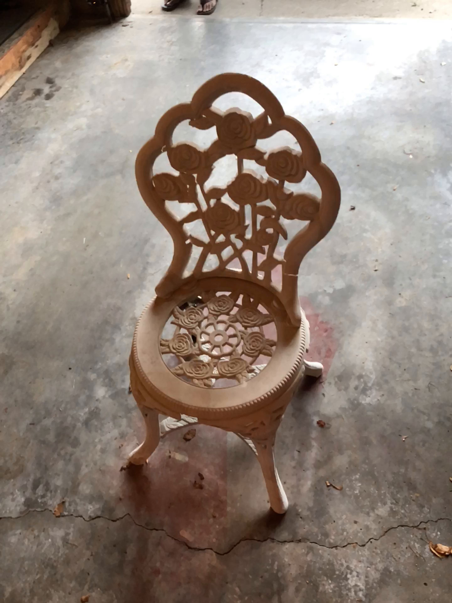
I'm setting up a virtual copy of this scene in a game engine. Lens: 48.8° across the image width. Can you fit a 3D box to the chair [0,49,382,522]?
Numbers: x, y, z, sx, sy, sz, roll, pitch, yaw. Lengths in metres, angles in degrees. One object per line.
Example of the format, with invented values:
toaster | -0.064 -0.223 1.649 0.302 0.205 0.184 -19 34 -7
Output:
chair | -0.015 0.037 1.094 0.490 0.899 0.500 12 55 15
